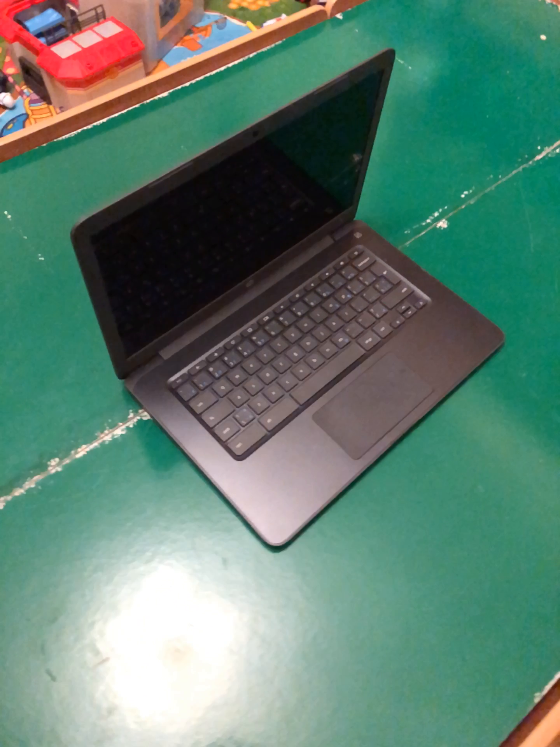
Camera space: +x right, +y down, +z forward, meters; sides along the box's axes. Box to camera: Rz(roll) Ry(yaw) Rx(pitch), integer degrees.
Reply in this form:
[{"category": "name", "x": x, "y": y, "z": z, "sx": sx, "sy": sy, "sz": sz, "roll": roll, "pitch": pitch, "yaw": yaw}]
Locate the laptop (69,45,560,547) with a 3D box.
[{"category": "laptop", "x": 0.042, "y": -0.068, "z": 0.520, "sx": 0.318, "sy": 0.204, "sz": 0.211, "roll": -38, "pitch": 68, "yaw": -21}]
